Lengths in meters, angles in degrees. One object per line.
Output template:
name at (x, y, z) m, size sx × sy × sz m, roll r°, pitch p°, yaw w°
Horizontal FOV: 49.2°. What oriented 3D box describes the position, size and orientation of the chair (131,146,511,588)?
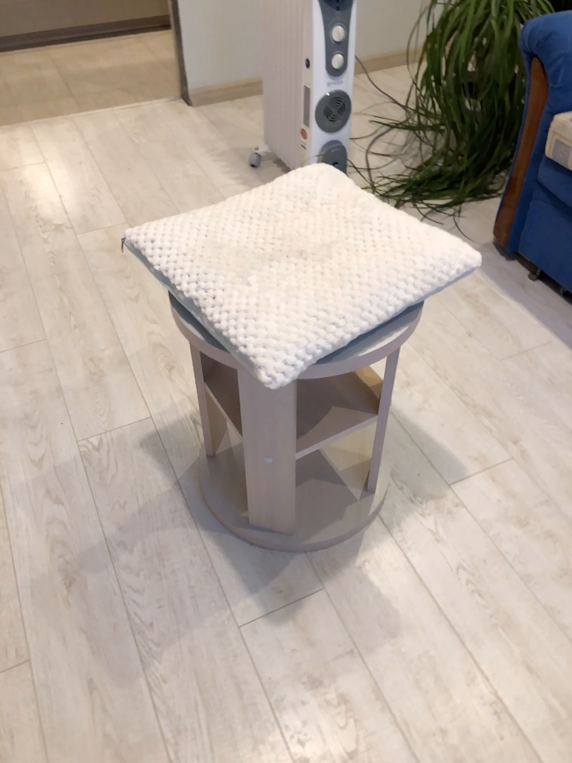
chair at (0.027, -0.020, 1.057) m, size 0.401 × 0.546 × 0.382 m, roll -17°, pitch 47°, yaw -16°
